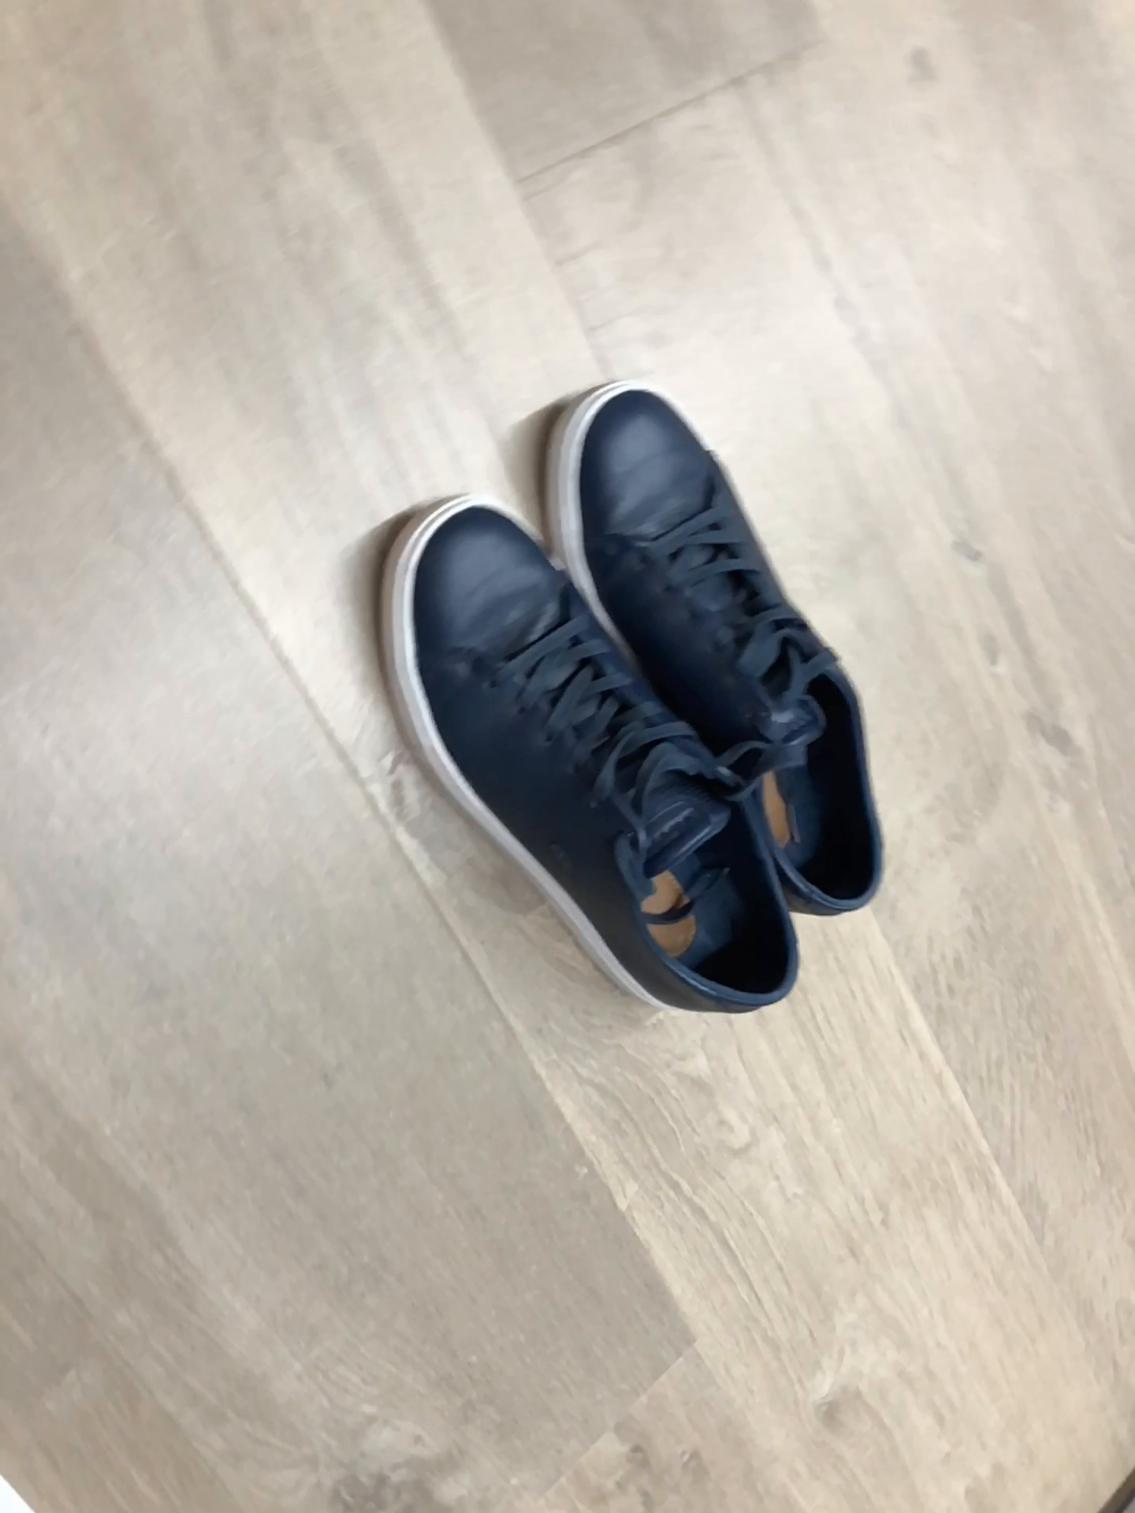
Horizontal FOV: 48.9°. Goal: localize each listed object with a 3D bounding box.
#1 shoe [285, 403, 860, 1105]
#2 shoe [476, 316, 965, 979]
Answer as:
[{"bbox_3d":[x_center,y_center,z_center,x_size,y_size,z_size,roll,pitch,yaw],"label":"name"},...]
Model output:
[{"bbox_3d":[0.006,0.002,0.499,0.100,0.080,0.247,-37,108,-22],"label":"shoe"},{"bbox_3d":[0.069,-0.043,0.538,0.100,0.080,0.247,-30,105,-24],"label":"shoe"}]
